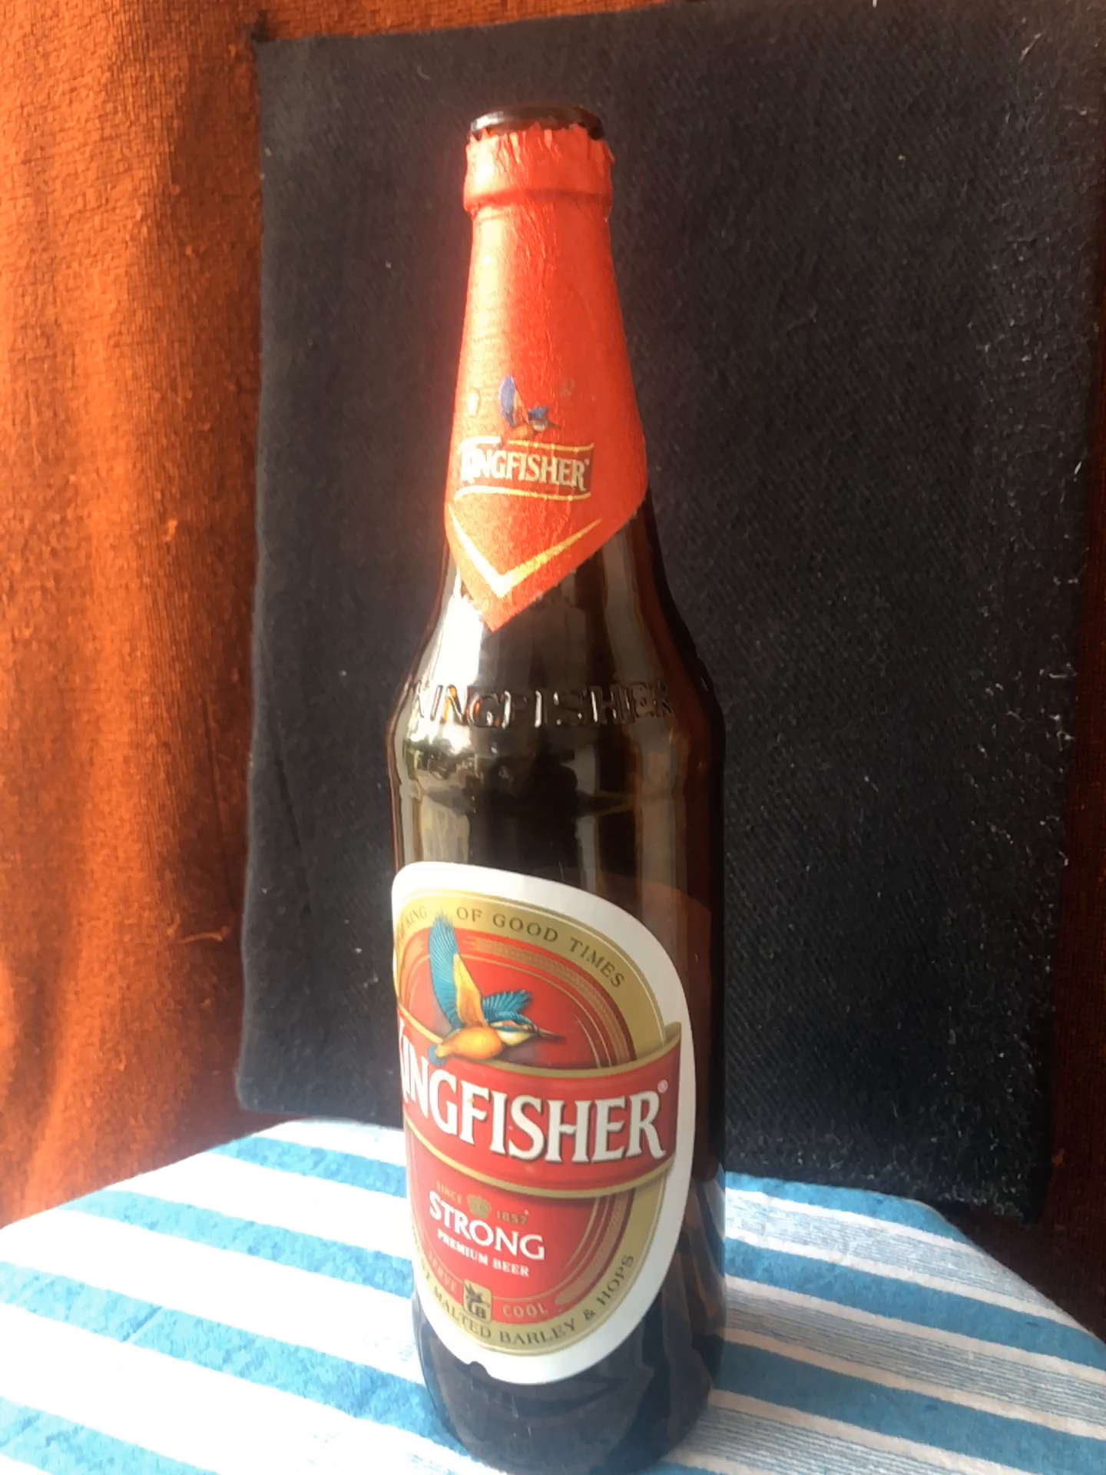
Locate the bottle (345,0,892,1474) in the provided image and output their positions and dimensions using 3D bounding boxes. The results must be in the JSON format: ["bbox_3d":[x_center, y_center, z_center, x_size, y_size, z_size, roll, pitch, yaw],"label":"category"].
[{"bbox_3d":[0.015,0.013,0.263,0.080,0.289,0.070,7,15,27],"label":"bottle"}]
